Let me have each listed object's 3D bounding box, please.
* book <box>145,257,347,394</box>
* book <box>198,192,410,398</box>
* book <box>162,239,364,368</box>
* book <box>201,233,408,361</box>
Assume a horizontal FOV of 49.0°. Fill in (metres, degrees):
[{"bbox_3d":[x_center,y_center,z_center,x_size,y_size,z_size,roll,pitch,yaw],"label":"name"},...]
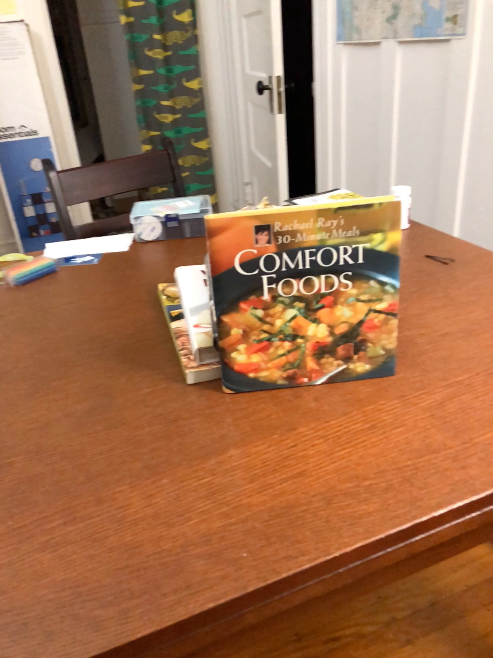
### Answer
[{"bbox_3d":[-0.018,-0.021,0.769,0.220,0.030,0.282,-11,30,-11],"label":"book"},{"bbox_3d":[0.062,-0.032,0.588,0.210,0.209,0.030,-5,25,-3],"label":"book"},{"bbox_3d":[0.005,-0.051,0.762,0.220,0.030,0.282,-10,29,-9],"label":"book"},{"bbox_3d":[0.057,-0.058,0.735,0.220,0.030,0.282,-7,29,-4],"label":"book"}]
